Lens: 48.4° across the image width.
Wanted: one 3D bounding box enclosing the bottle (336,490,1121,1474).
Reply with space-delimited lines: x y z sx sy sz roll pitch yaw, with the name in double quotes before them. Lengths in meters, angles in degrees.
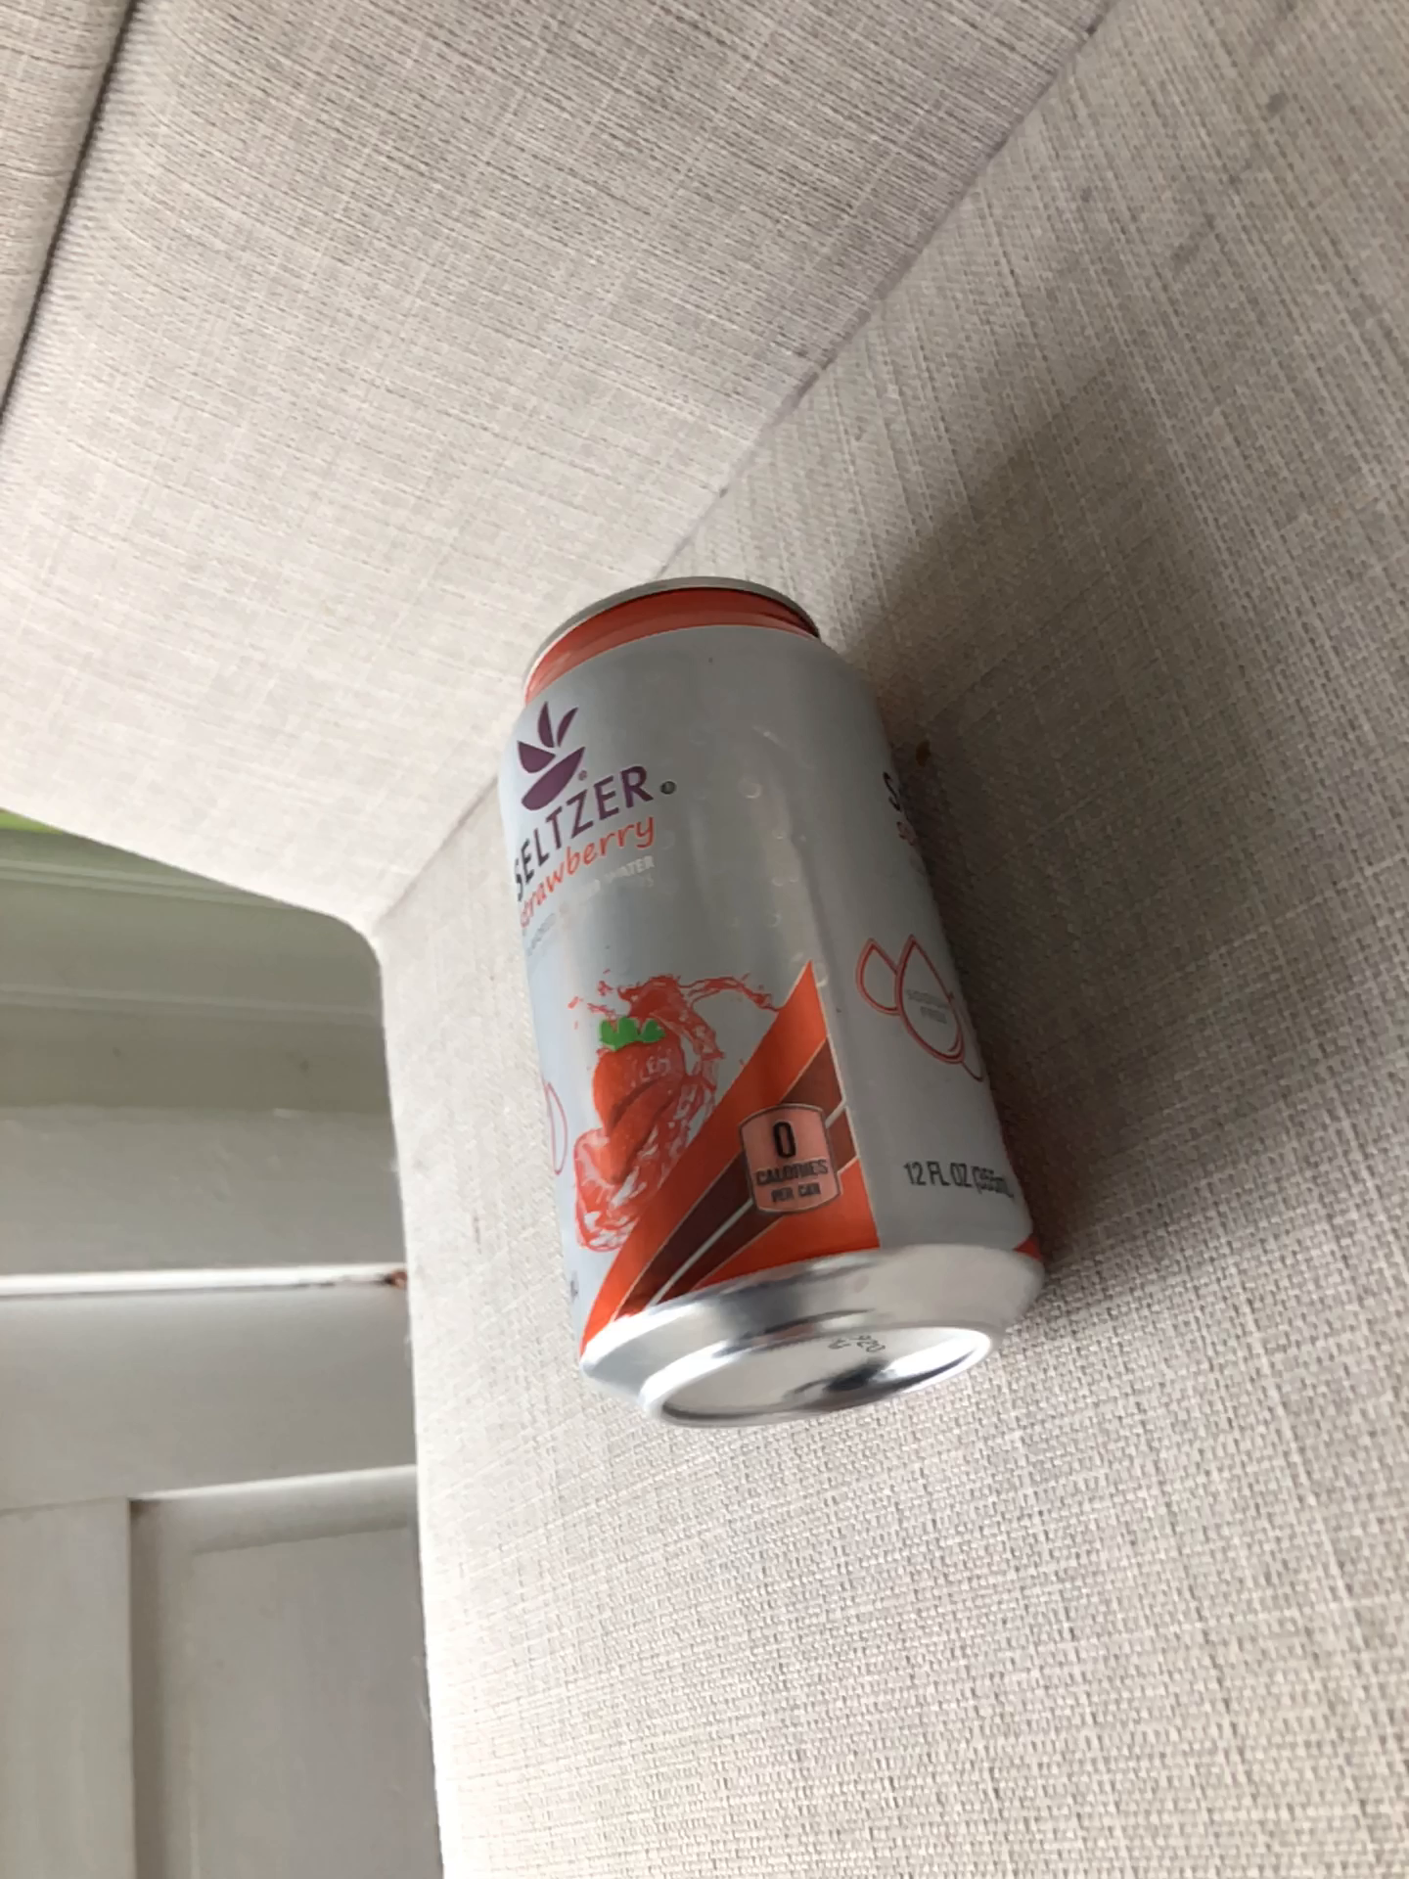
"bottle" -0.004 0.009 0.240 0.070 0.070 0.121 -41 52 44
